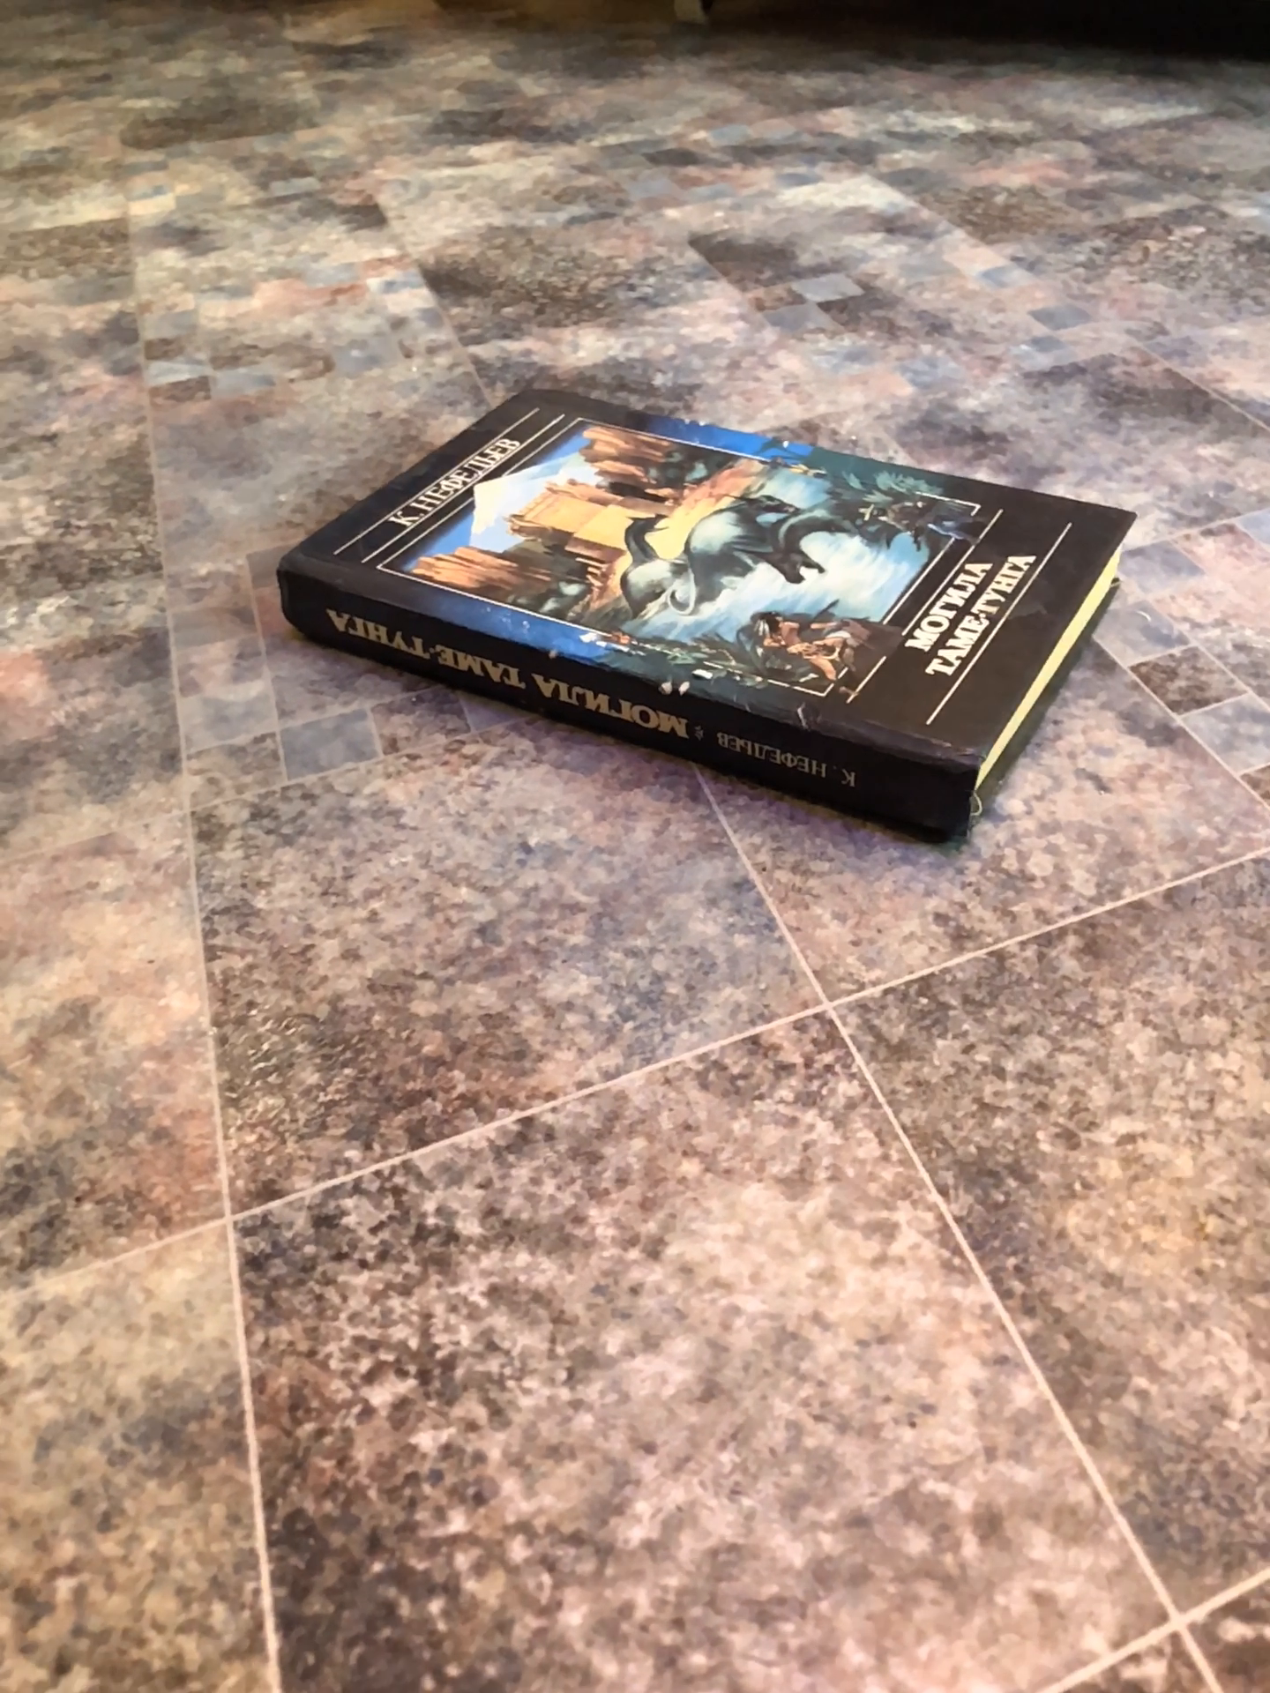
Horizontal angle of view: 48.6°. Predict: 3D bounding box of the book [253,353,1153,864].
[{"bbox_3d":[0.020,-0.080,0.390,0.202,0.030,0.139,21,46,23],"label":"book"}]
